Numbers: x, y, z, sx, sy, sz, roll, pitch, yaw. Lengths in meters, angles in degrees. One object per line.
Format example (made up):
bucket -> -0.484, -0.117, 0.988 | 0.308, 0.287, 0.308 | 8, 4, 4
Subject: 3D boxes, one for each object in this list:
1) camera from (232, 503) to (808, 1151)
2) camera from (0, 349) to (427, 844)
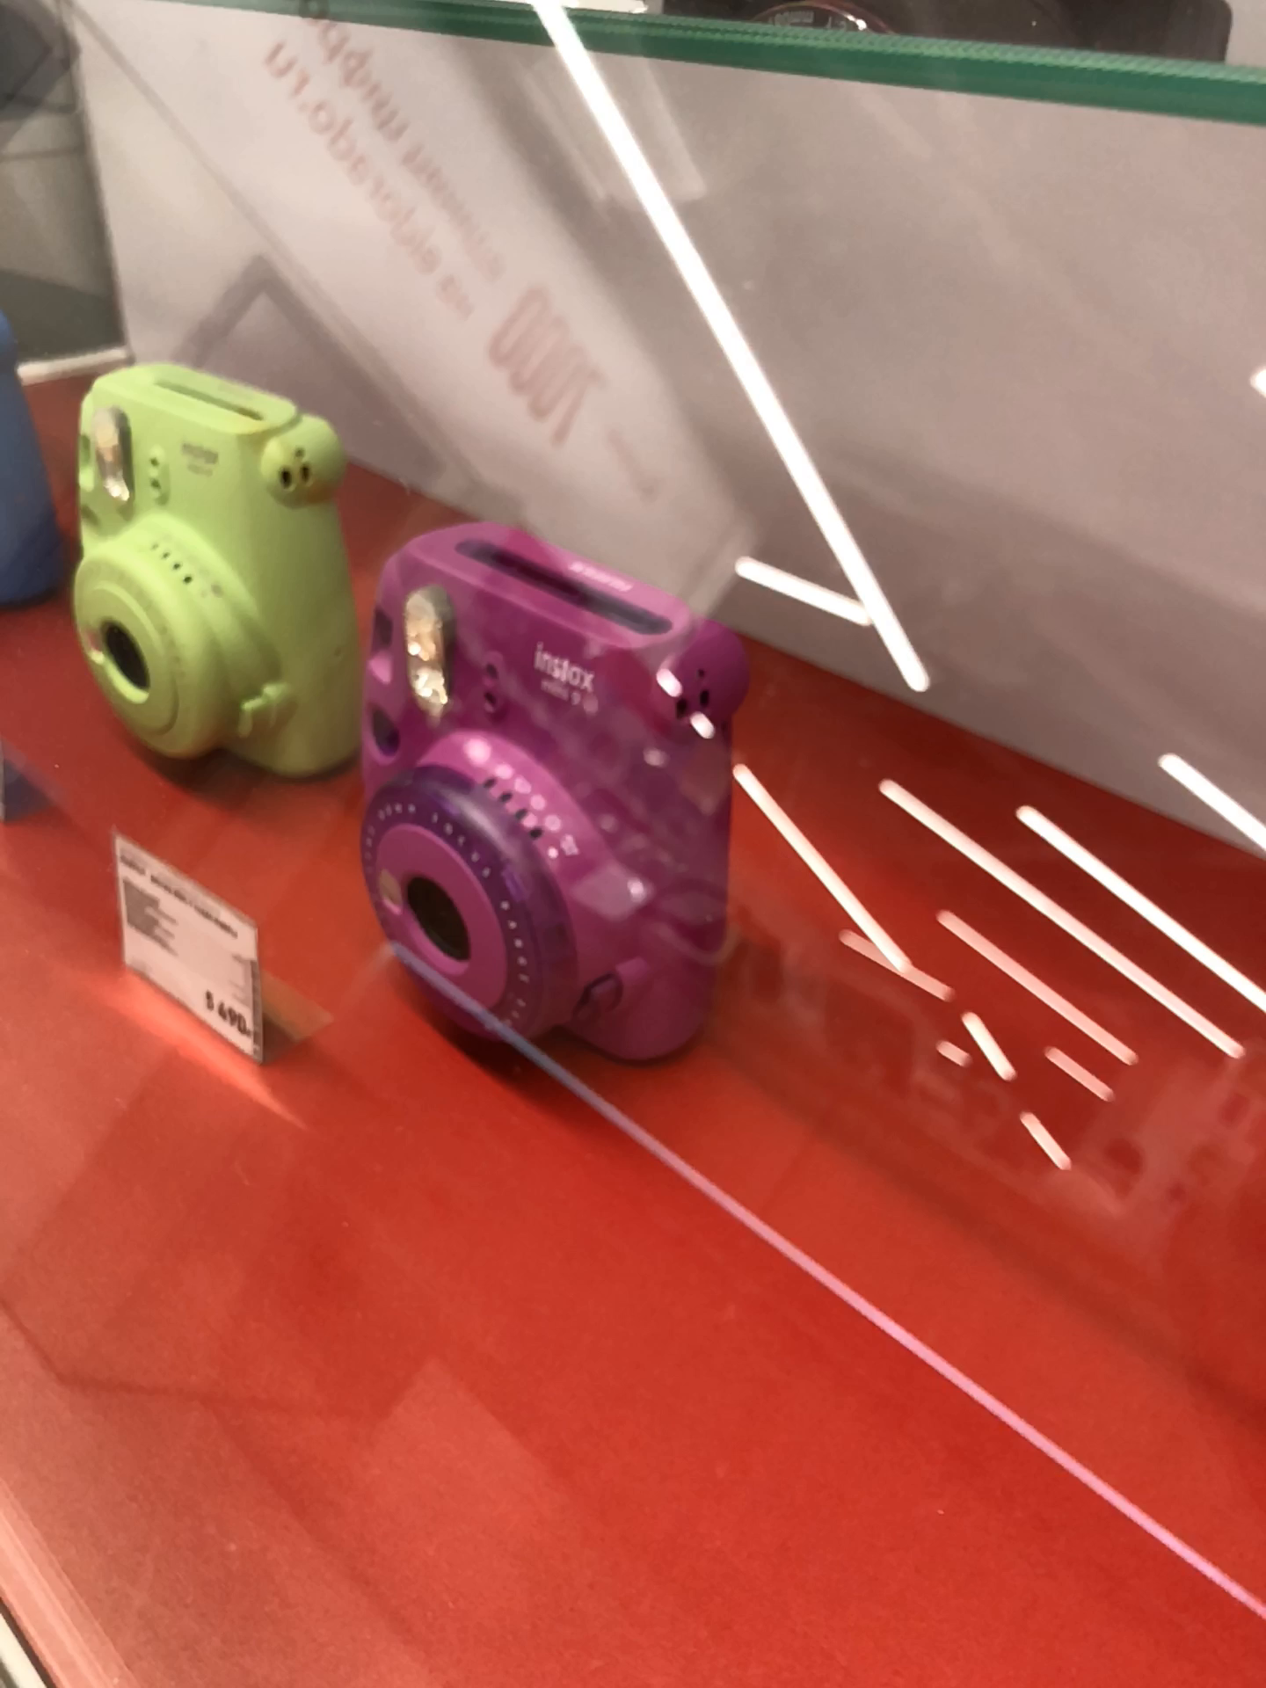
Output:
camera -> -0.029, -0.011, 0.353 | 0.073, 0.103, 0.117 | -28, 43, -36
camera -> -0.147, -0.089, 0.486 | 0.135, 0.118, 0.073 | 26, 41, 33
